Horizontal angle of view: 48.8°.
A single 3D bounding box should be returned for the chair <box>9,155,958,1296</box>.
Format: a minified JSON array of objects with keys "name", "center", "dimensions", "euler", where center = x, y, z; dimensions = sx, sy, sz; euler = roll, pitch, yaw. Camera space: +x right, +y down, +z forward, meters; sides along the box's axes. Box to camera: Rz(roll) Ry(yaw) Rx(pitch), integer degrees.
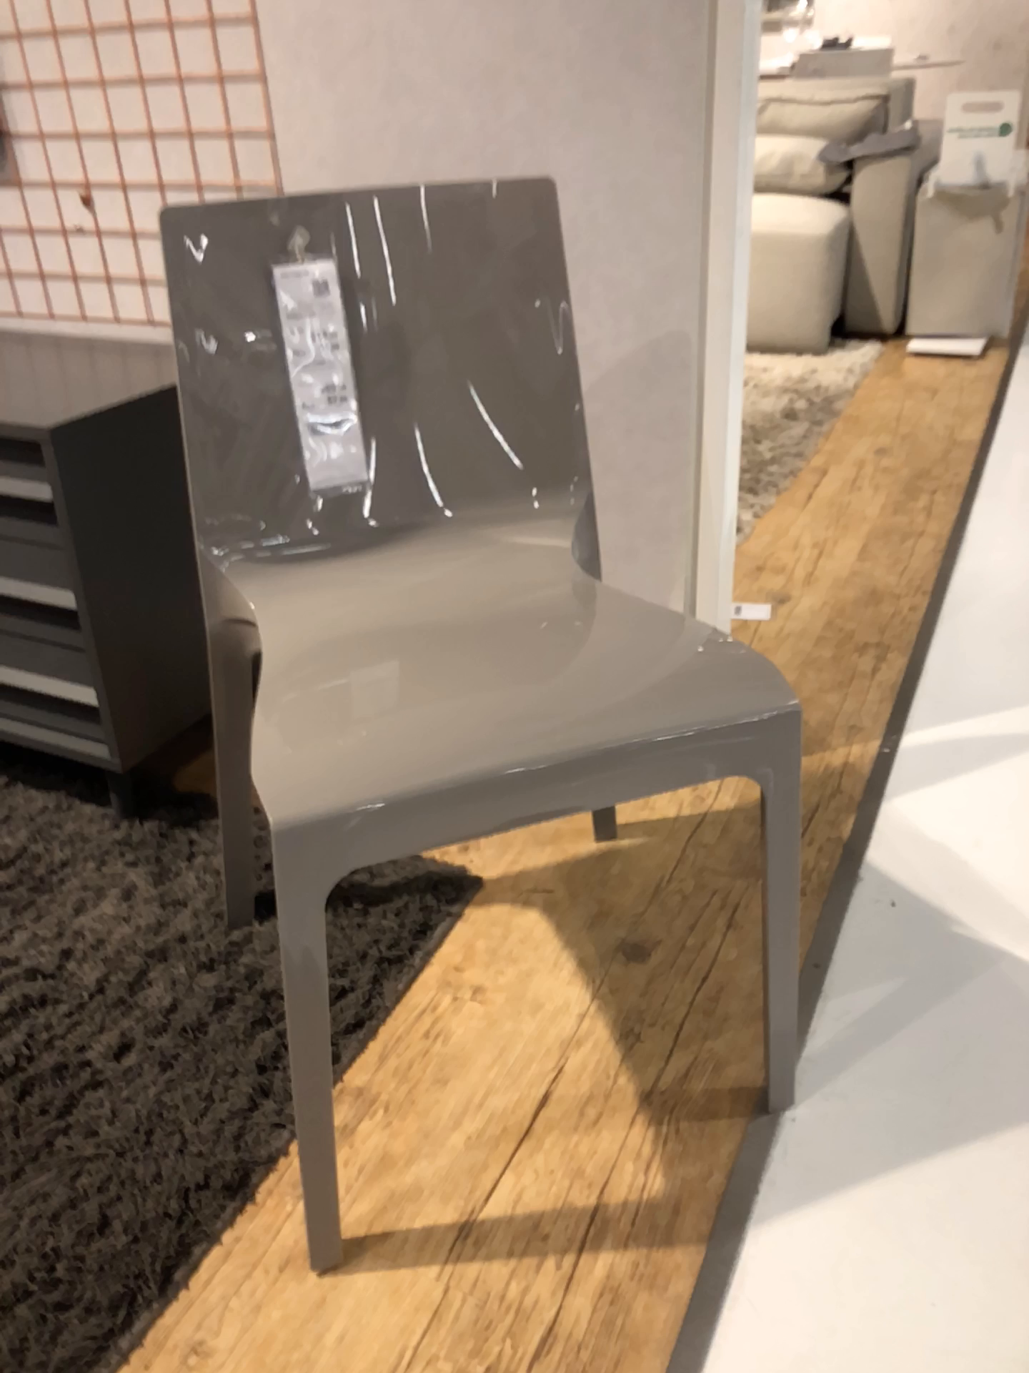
[{"name":"chair","center":[-0.052,-0.021,1.019],"dimensions":[0.521,0.755,0.563],"euler":[-11,30,-13]}]
